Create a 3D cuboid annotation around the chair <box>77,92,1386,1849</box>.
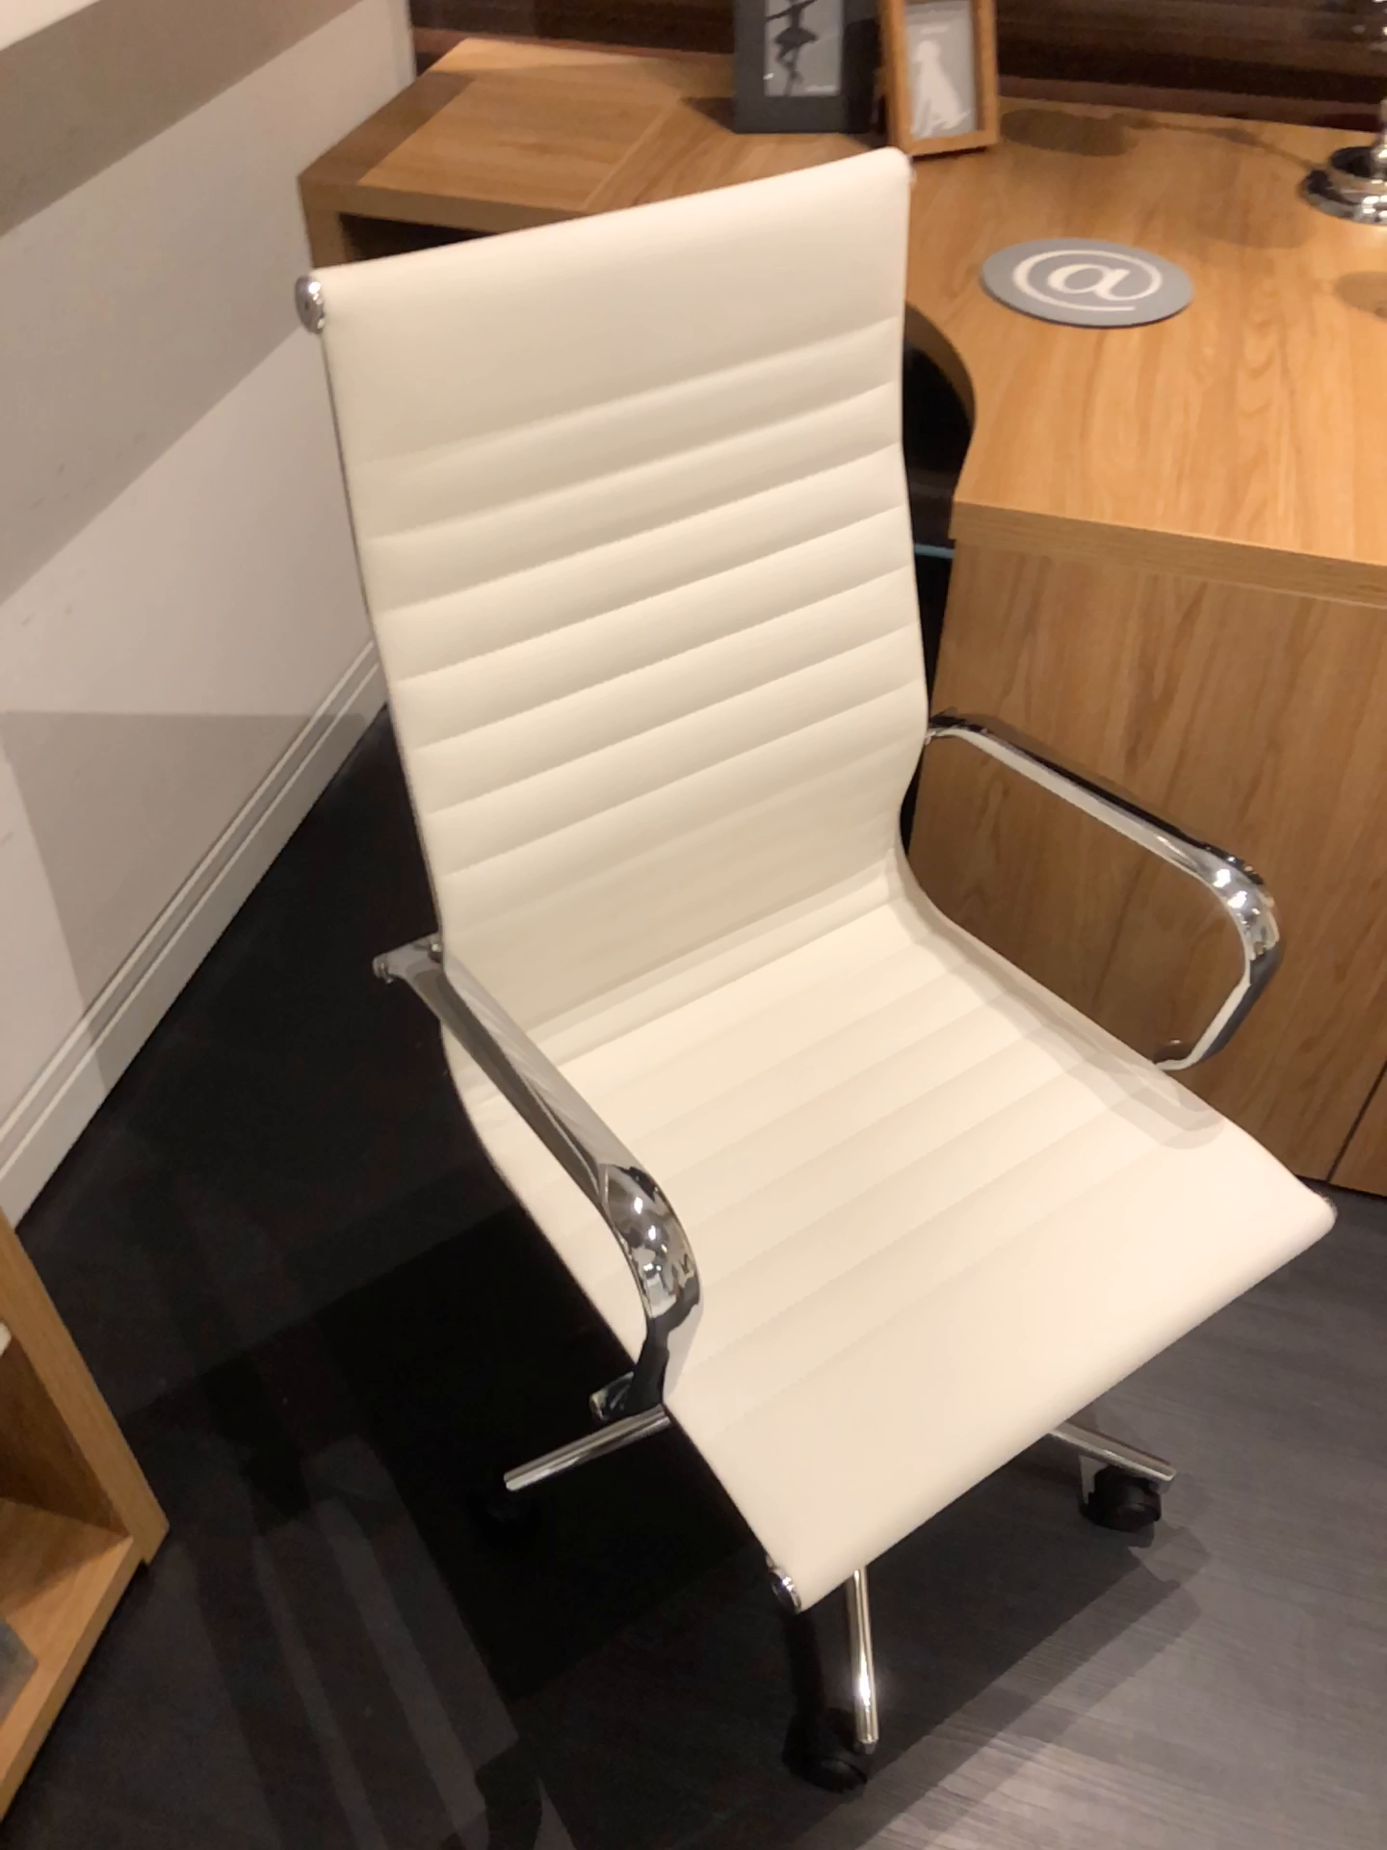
[{"bbox_3d":[0.094,0.072,1.140,0.632,1.013,0.633,-25,51,-24],"label":"chair"}]
